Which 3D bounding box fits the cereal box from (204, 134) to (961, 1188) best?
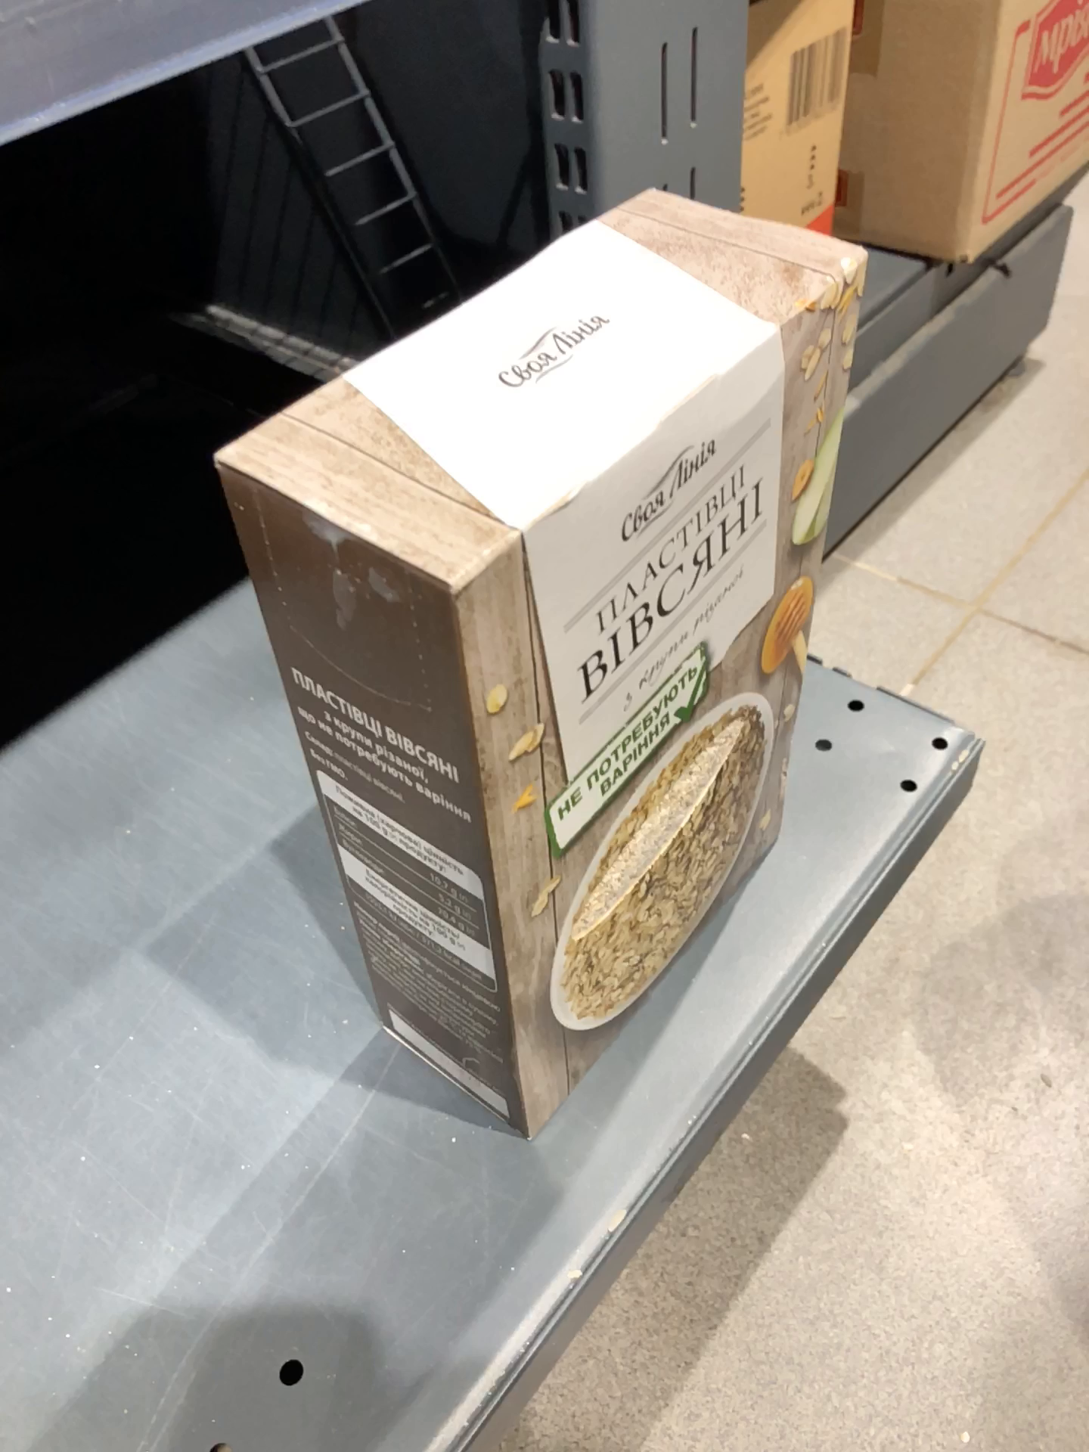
[{"bbox_3d":[0.019,-0.005,0.319,0.070,0.228,0.151,30,55,27],"label":"cereal box"}]
